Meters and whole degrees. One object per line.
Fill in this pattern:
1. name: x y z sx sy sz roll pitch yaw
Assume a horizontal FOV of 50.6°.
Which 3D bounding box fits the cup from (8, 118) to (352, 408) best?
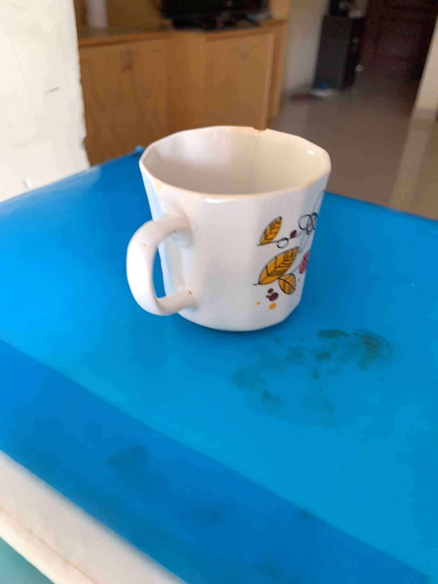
1. cup: -0.010 -0.022 0.179 0.070 0.060 0.100 28 40 32
